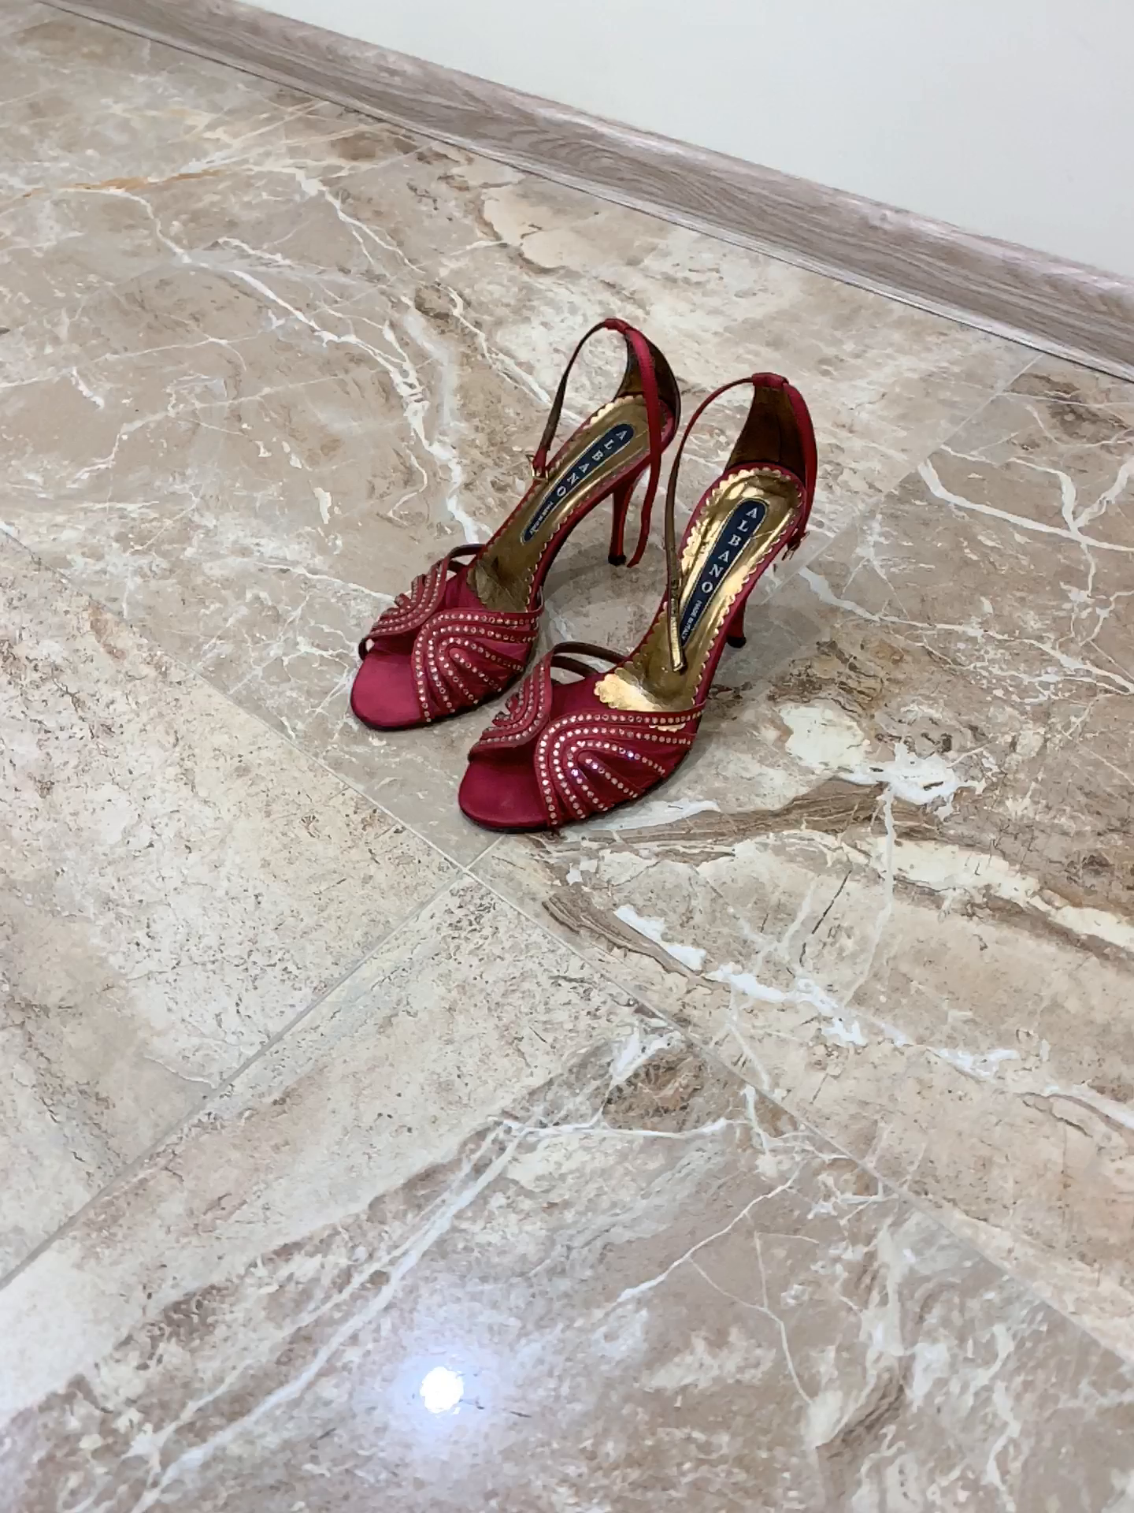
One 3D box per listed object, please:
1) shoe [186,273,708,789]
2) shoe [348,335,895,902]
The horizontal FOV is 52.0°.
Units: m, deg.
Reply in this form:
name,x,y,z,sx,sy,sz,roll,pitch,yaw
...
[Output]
name,x,y,z,sx,sy,sz,roll,pitch,yaw
shoe,-0.045,-0.115,0.564,0.090,0.129,0.231,36,59,27
shoe,0.031,-0.068,0.520,0.090,0.129,0.231,36,59,27
